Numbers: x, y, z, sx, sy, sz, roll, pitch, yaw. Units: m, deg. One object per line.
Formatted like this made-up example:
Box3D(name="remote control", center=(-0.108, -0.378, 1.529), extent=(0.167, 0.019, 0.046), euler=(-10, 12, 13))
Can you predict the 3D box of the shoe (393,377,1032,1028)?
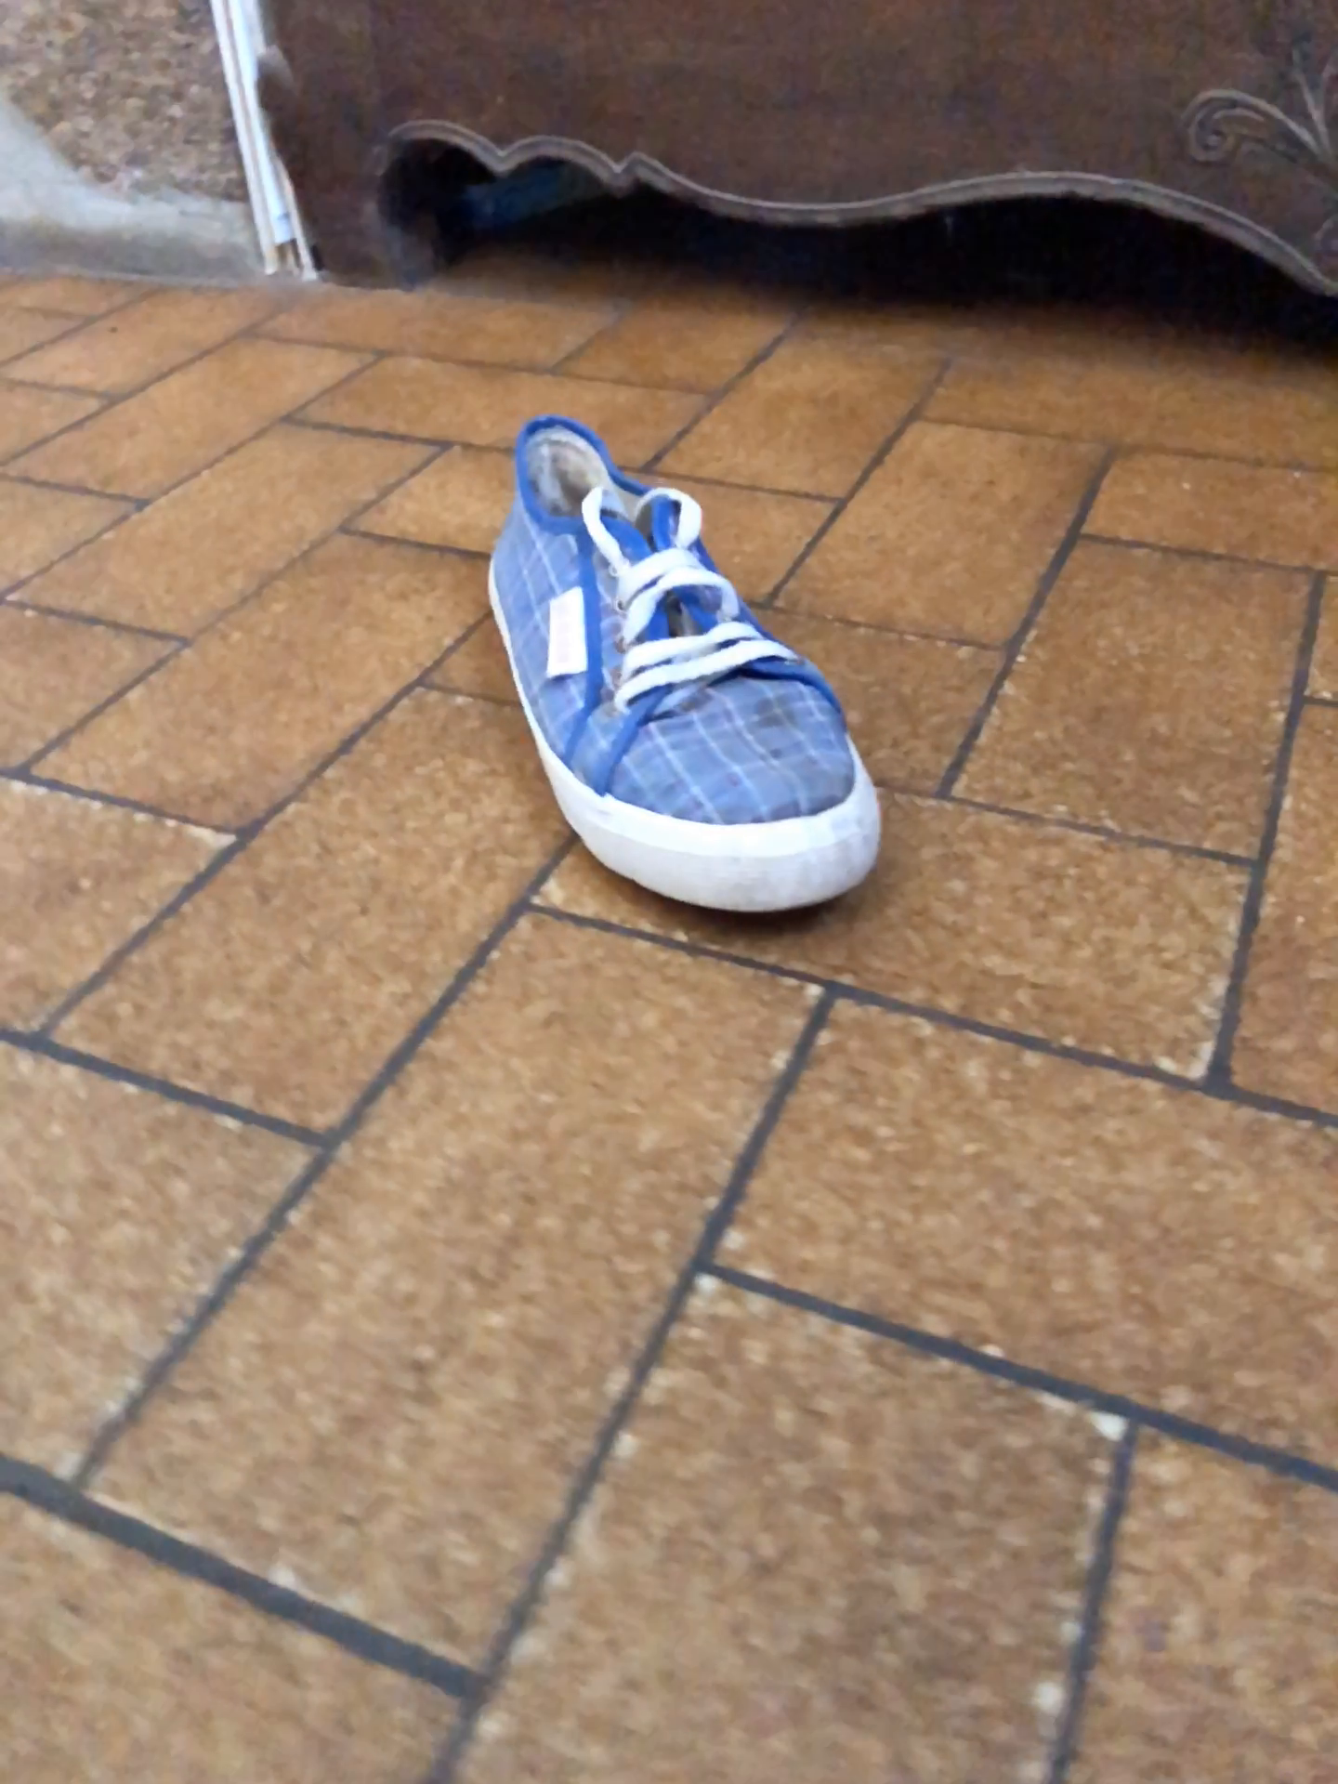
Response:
Box3D(name="shoe", center=(-0.001, -0.077, 0.470), extent=(0.100, 0.080, 0.241), euler=(-17, 41, -17))
